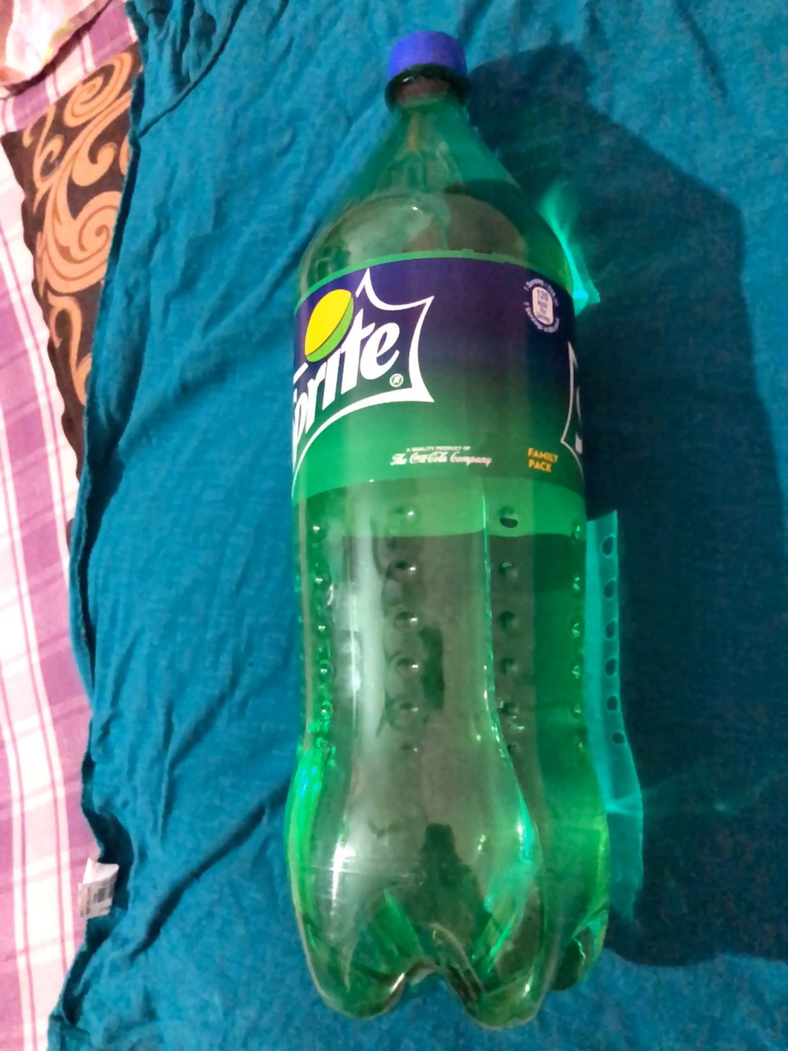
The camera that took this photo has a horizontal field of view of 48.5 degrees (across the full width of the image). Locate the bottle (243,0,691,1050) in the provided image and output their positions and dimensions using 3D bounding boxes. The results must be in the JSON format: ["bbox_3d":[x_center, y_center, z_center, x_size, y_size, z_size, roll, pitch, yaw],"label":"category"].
[{"bbox_3d":[0.015,-0.026,0.291,0.110,0.070,0.330,-10,77,39],"label":"bottle"}]
